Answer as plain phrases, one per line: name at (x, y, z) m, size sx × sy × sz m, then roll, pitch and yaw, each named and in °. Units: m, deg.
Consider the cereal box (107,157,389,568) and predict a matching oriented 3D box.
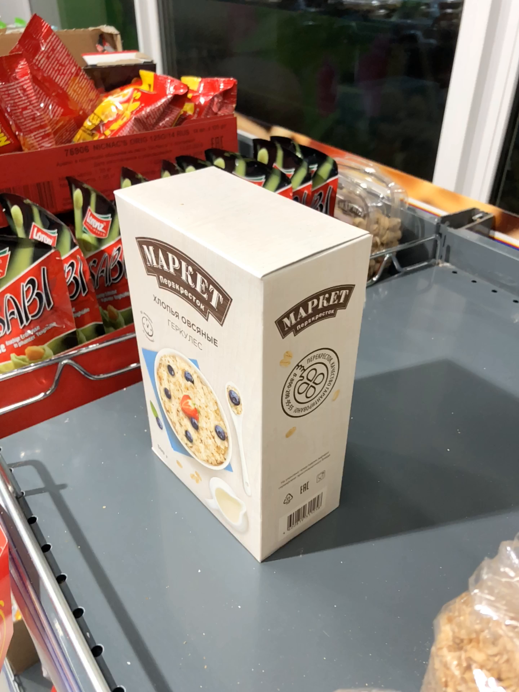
cereal box at (-0.011, 0.008, 0.334) m, size 0.070 × 0.189 × 0.131 m, roll -26°, pitch 43°, yaw -32°
